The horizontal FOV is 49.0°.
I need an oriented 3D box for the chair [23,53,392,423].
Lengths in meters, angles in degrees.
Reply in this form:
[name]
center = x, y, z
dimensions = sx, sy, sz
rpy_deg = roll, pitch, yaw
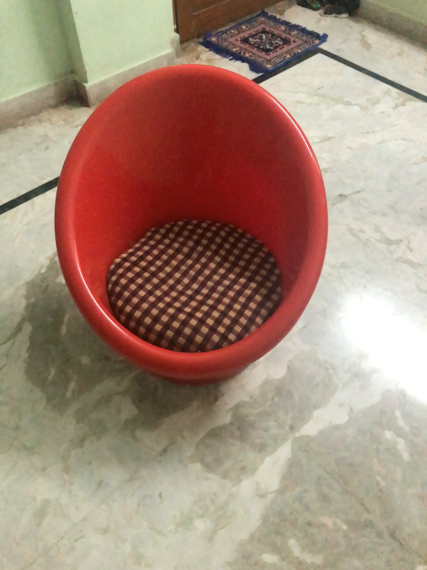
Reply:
[chair]
center = -0.053, -0.144, 1.208
dimensions = 0.620, 0.507, 0.744
rpy_deg = -7, 52, -5
